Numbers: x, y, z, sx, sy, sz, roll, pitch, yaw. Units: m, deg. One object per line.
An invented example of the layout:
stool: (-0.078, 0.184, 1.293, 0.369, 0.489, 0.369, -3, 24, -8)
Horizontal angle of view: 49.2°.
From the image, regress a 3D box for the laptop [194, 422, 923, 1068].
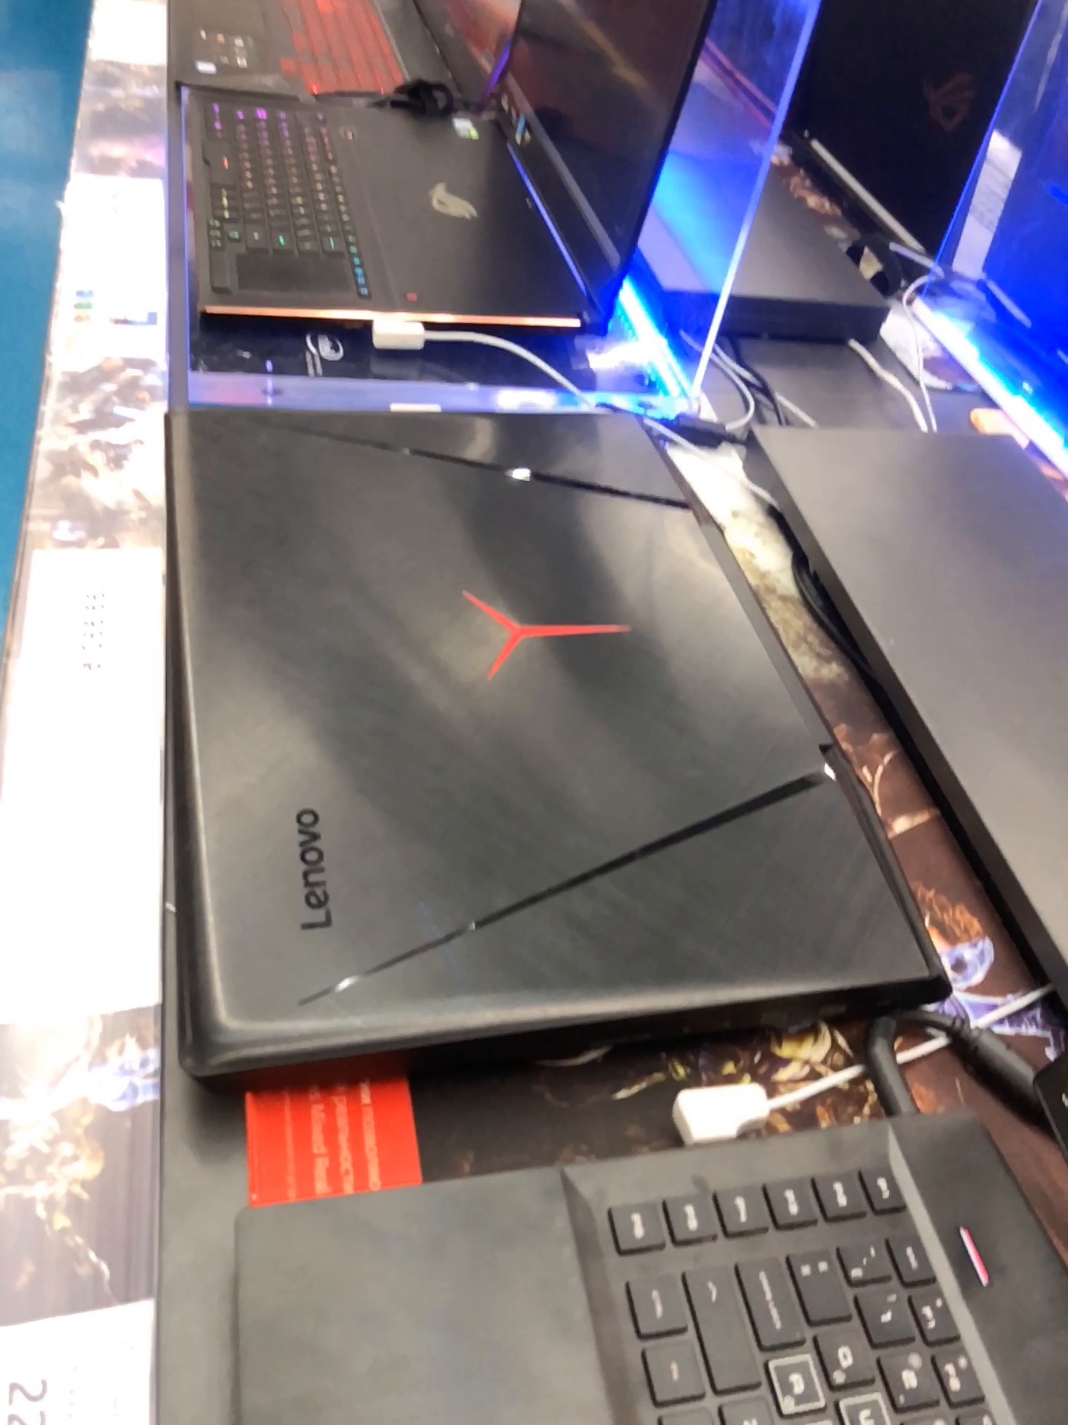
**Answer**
laptop: (-0.020, -0.030, 0.567, 0.269, 0.005, 0.401, -4, 46, -15)
